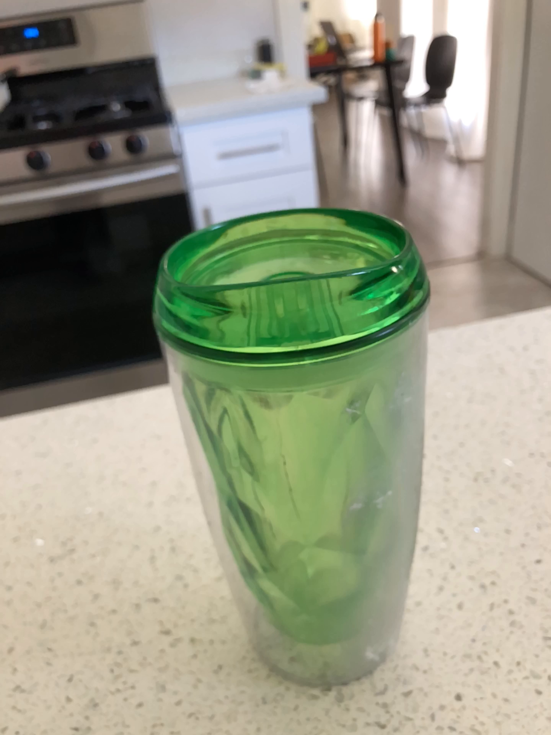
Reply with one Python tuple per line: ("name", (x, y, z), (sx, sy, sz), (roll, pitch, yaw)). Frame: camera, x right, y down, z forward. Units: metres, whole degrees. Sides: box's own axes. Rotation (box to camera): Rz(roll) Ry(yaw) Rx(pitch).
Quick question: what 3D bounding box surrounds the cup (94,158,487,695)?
("cup", (0.012, 0.022, 0.221), (0.090, 0.159, 0.090), (-5, 29, 3))
